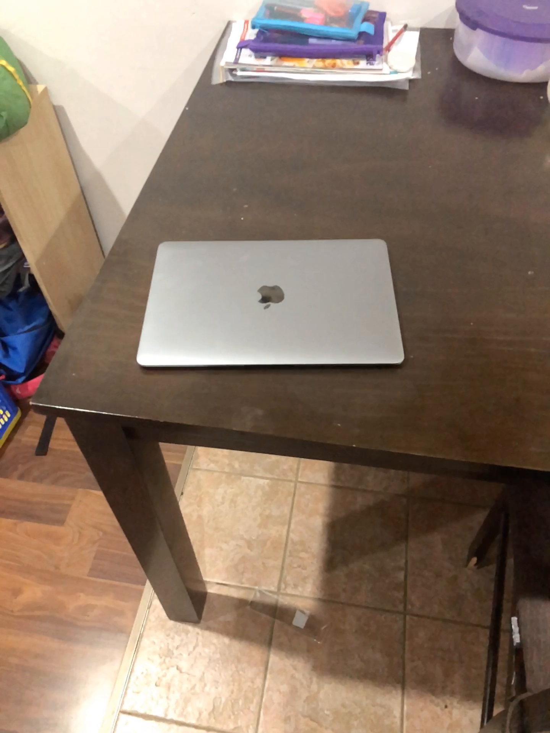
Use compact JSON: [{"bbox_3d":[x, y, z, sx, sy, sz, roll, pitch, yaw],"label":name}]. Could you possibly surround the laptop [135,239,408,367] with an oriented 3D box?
[{"bbox_3d":[-0.003,-0.077,0.669,0.275,0.002,0.196,0,51,-1],"label":"laptop"}]
